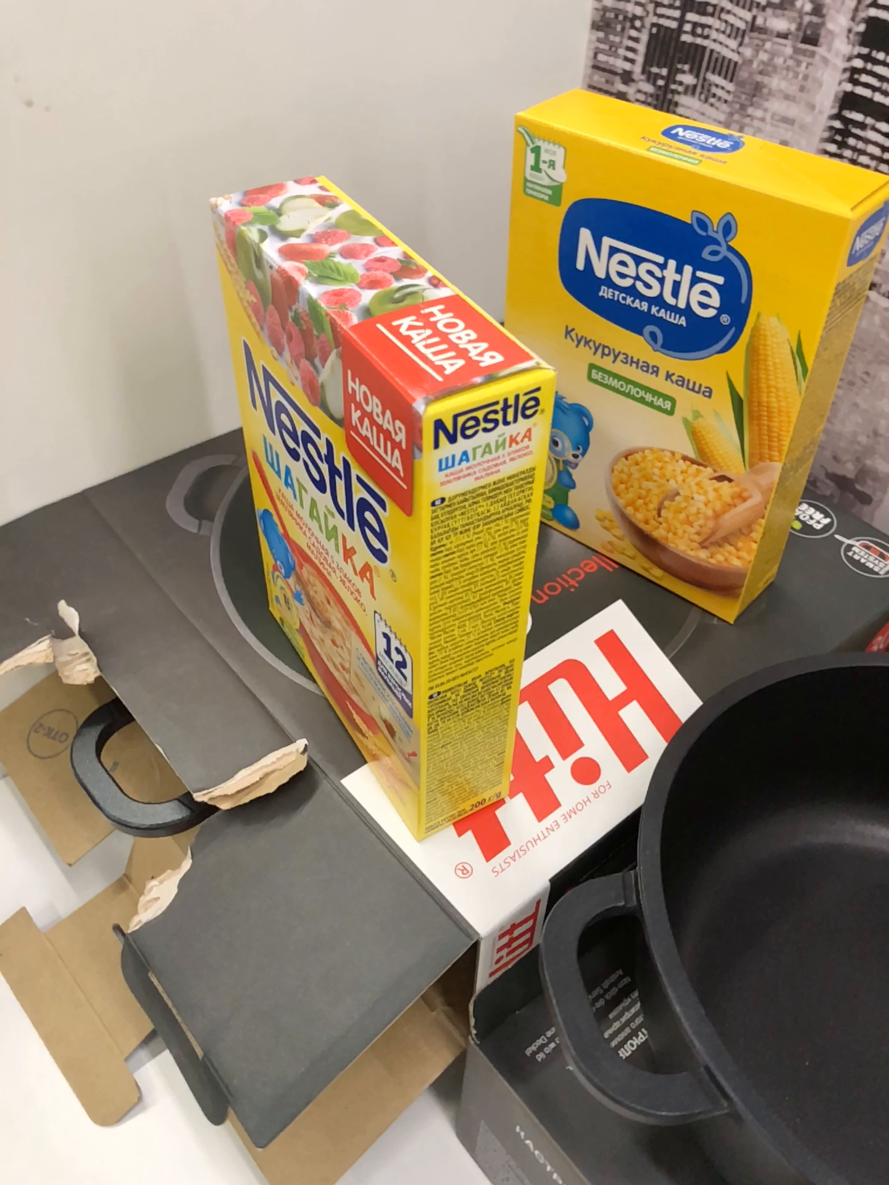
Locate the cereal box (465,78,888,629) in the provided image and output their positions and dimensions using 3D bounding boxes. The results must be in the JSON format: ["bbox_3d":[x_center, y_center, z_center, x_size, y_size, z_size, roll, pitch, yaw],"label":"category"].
[{"bbox_3d":[0.090,-0.105,0.449,0.160,0.199,0.050,31,50,28],"label":"cereal box"}]

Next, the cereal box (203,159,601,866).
[{"bbox_3d":[-0.023,-0.027,0.360,0.050,0.199,0.161,-20,47,-22],"label":"cereal box"}]
